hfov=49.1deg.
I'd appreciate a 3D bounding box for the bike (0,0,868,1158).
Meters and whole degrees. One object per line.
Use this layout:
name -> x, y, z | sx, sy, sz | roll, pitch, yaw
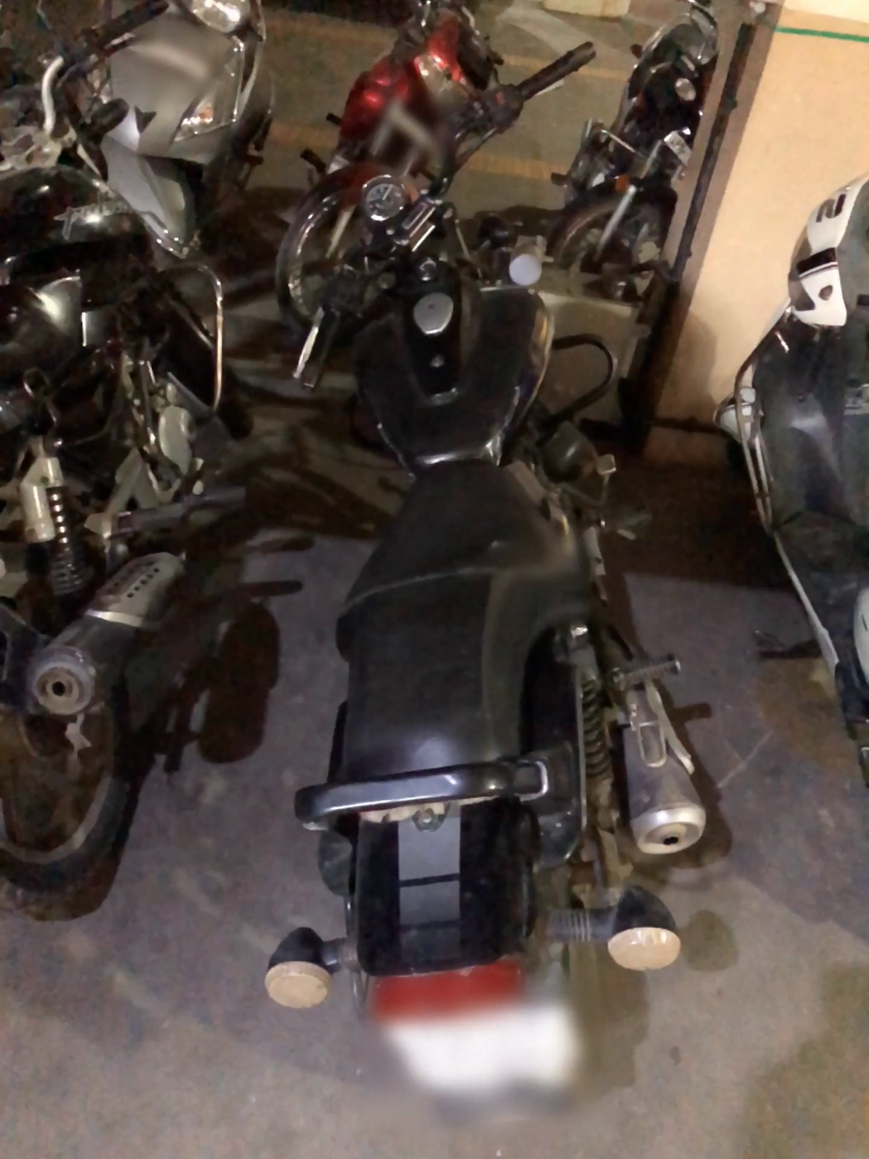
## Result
bike -> -0.088, -0.192, 1.591 | 0.863, 1.251, 1.677 | 2, 41, -8
